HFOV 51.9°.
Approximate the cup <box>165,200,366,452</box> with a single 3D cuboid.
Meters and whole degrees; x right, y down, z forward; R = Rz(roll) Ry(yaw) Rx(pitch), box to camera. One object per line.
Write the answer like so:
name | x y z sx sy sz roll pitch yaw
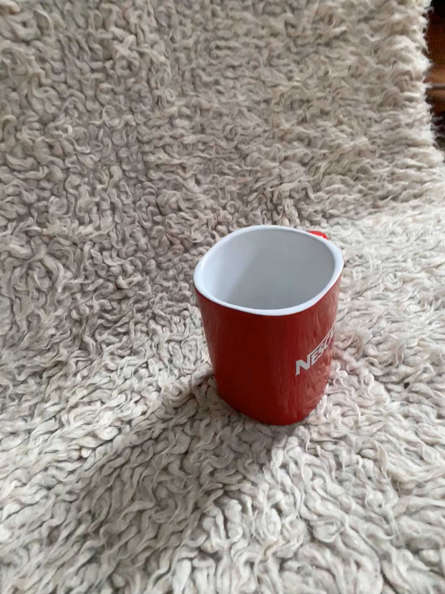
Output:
cup | 0.038 0.015 0.332 0.088 0.110 0.122 16 46 25
